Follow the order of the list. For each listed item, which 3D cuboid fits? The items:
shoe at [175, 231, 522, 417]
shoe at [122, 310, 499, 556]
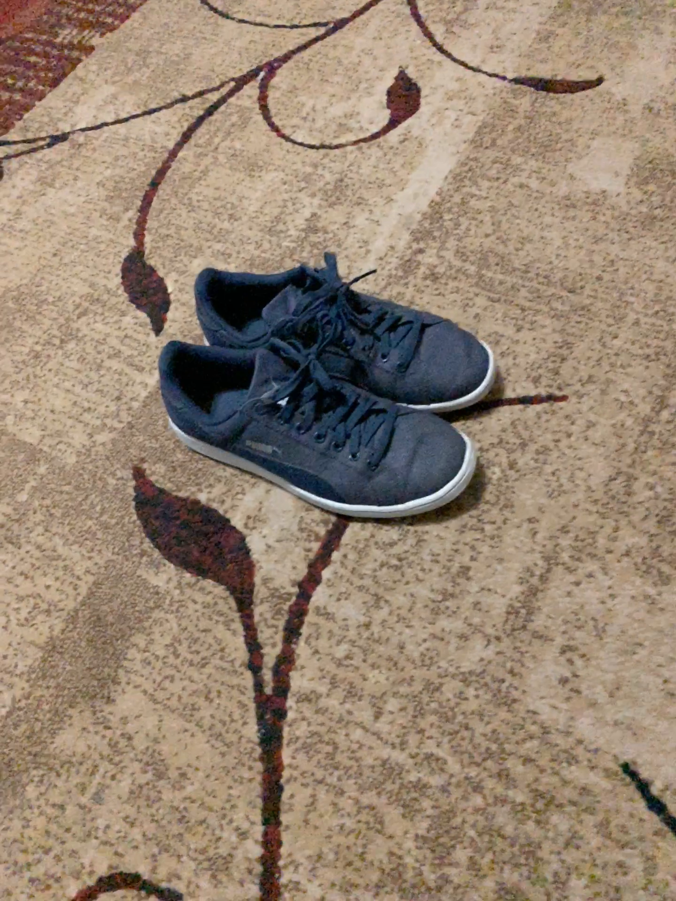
[{"bbox_3d":[0.008,-0.115,0.597,0.275,0.050,0.100,15,63,16],"label":"shoe"},{"bbox_3d":[-0.020,-0.019,0.570,0.275,0.090,0.106,16,64,17],"label":"shoe"}]
